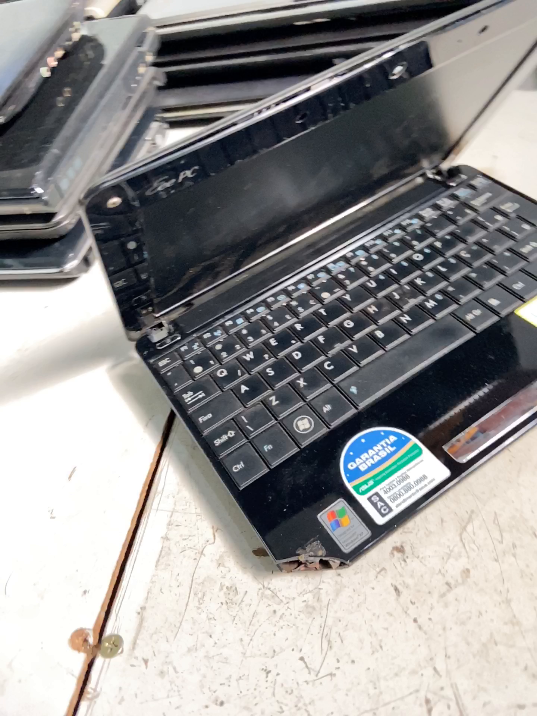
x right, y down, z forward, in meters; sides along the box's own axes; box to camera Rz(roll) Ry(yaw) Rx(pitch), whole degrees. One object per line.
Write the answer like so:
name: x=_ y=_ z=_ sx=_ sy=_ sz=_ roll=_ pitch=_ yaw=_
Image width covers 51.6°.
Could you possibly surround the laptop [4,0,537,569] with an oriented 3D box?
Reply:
laptop: x=0.058 y=-0.072 z=0.262 sx=0.262 sy=0.137 sz=0.168 roll=-30 pitch=49 yaw=-14
